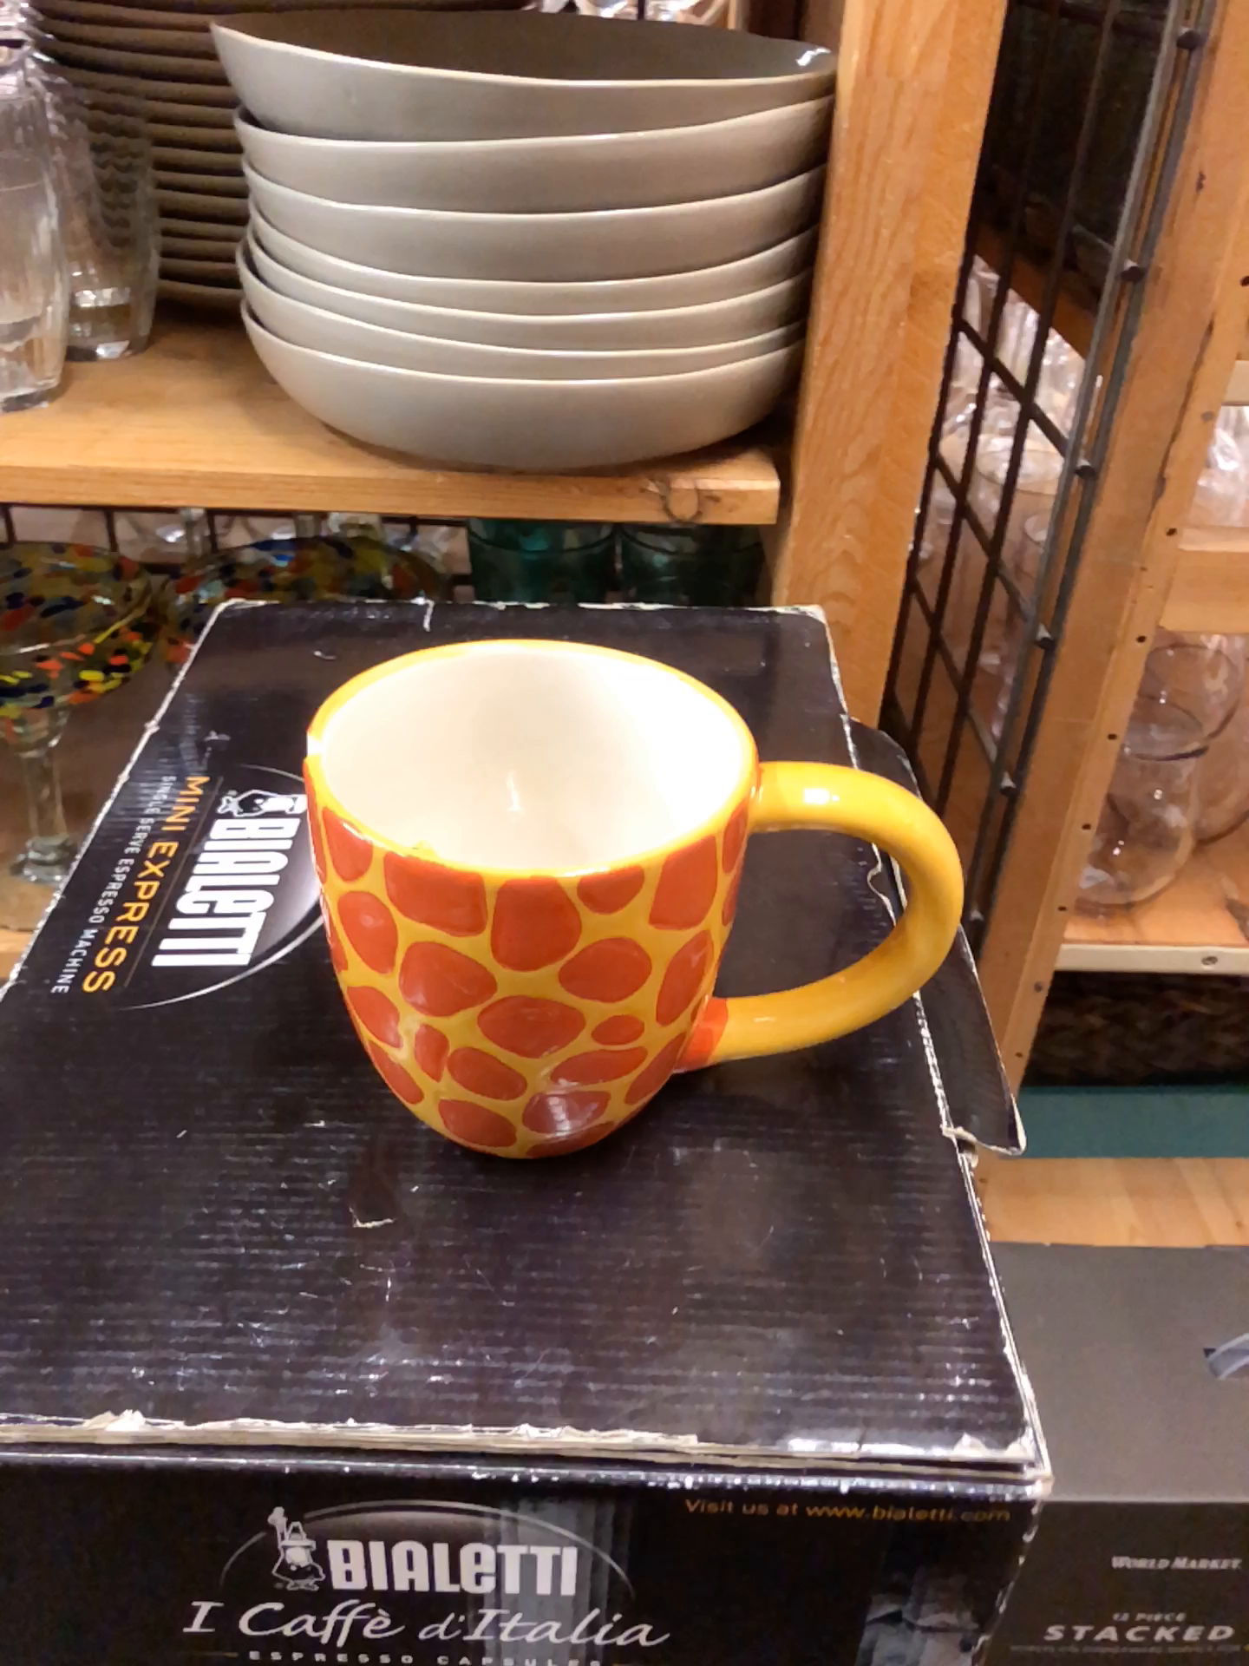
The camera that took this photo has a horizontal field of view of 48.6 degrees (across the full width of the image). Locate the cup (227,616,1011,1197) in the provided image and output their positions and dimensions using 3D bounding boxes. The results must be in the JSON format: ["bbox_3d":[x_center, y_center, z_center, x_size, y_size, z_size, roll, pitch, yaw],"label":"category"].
[{"bbox_3d":[-0.002,0.011,0.296,0.134,0.067,0.103,4,34,-1],"label":"cup"}]
